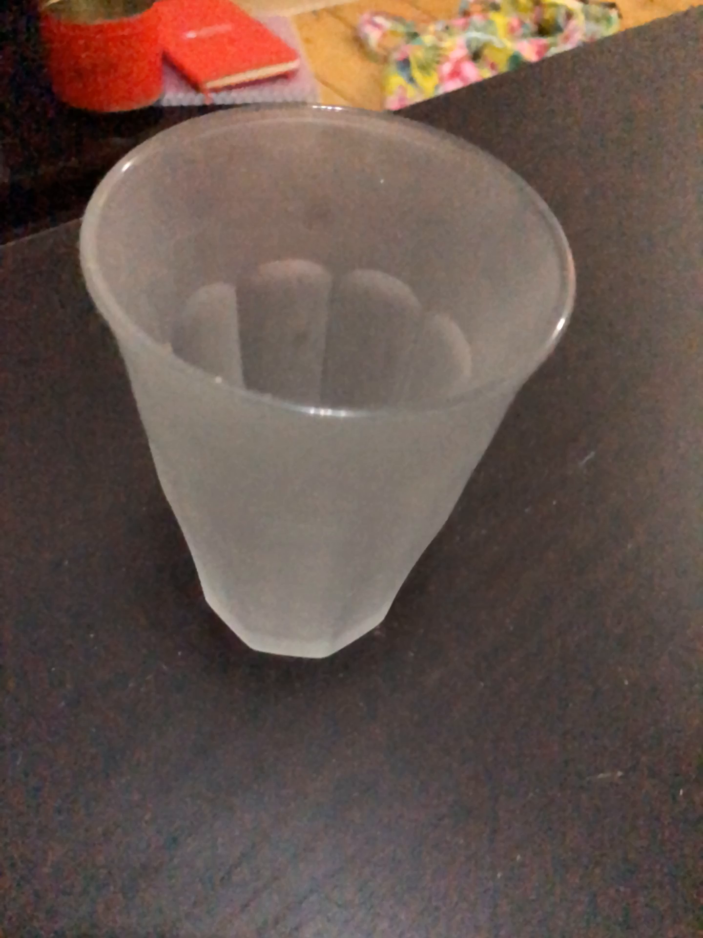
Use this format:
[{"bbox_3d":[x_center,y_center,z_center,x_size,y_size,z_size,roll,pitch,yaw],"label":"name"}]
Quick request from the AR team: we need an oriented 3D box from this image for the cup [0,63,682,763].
[{"bbox_3d":[-0.005,-0.003,0.187,0.100,0.129,0.090,9,52,-1],"label":"cup"}]
